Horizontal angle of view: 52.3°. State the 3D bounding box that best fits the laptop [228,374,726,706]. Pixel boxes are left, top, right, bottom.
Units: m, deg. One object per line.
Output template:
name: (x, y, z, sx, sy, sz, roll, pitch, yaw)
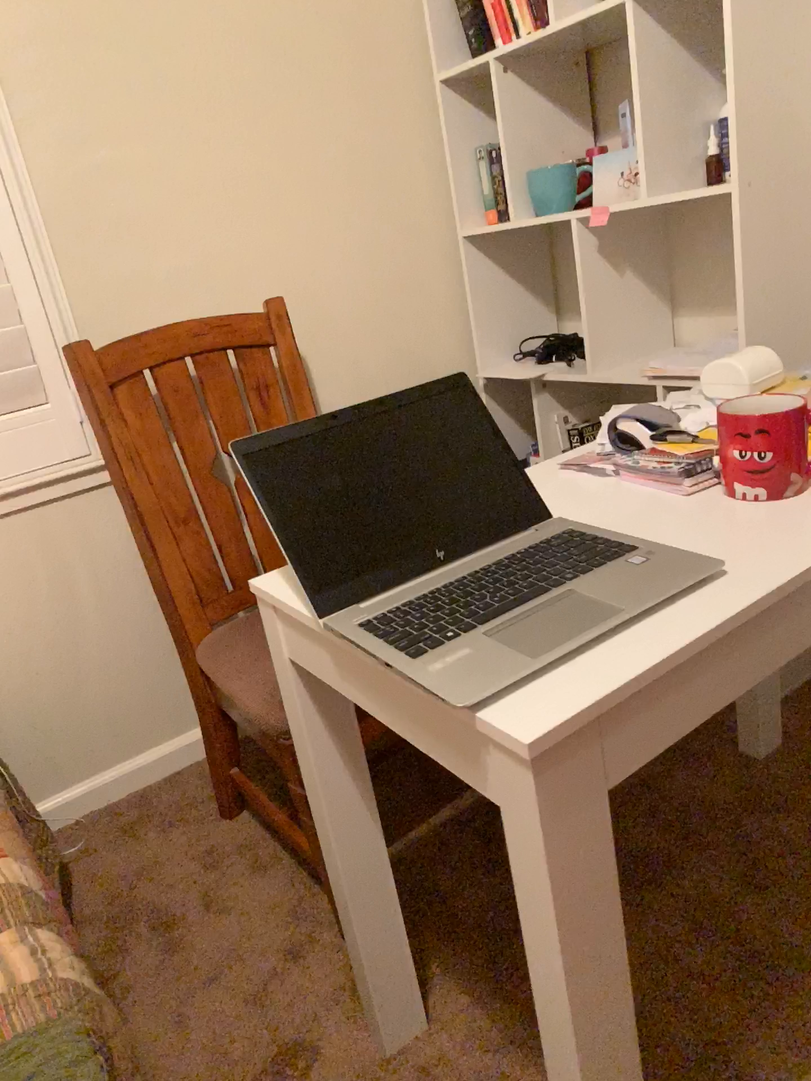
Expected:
laptop: (0.055, -0.040, 0.809, 0.310, 0.159, 0.365, -22, 23, -28)
